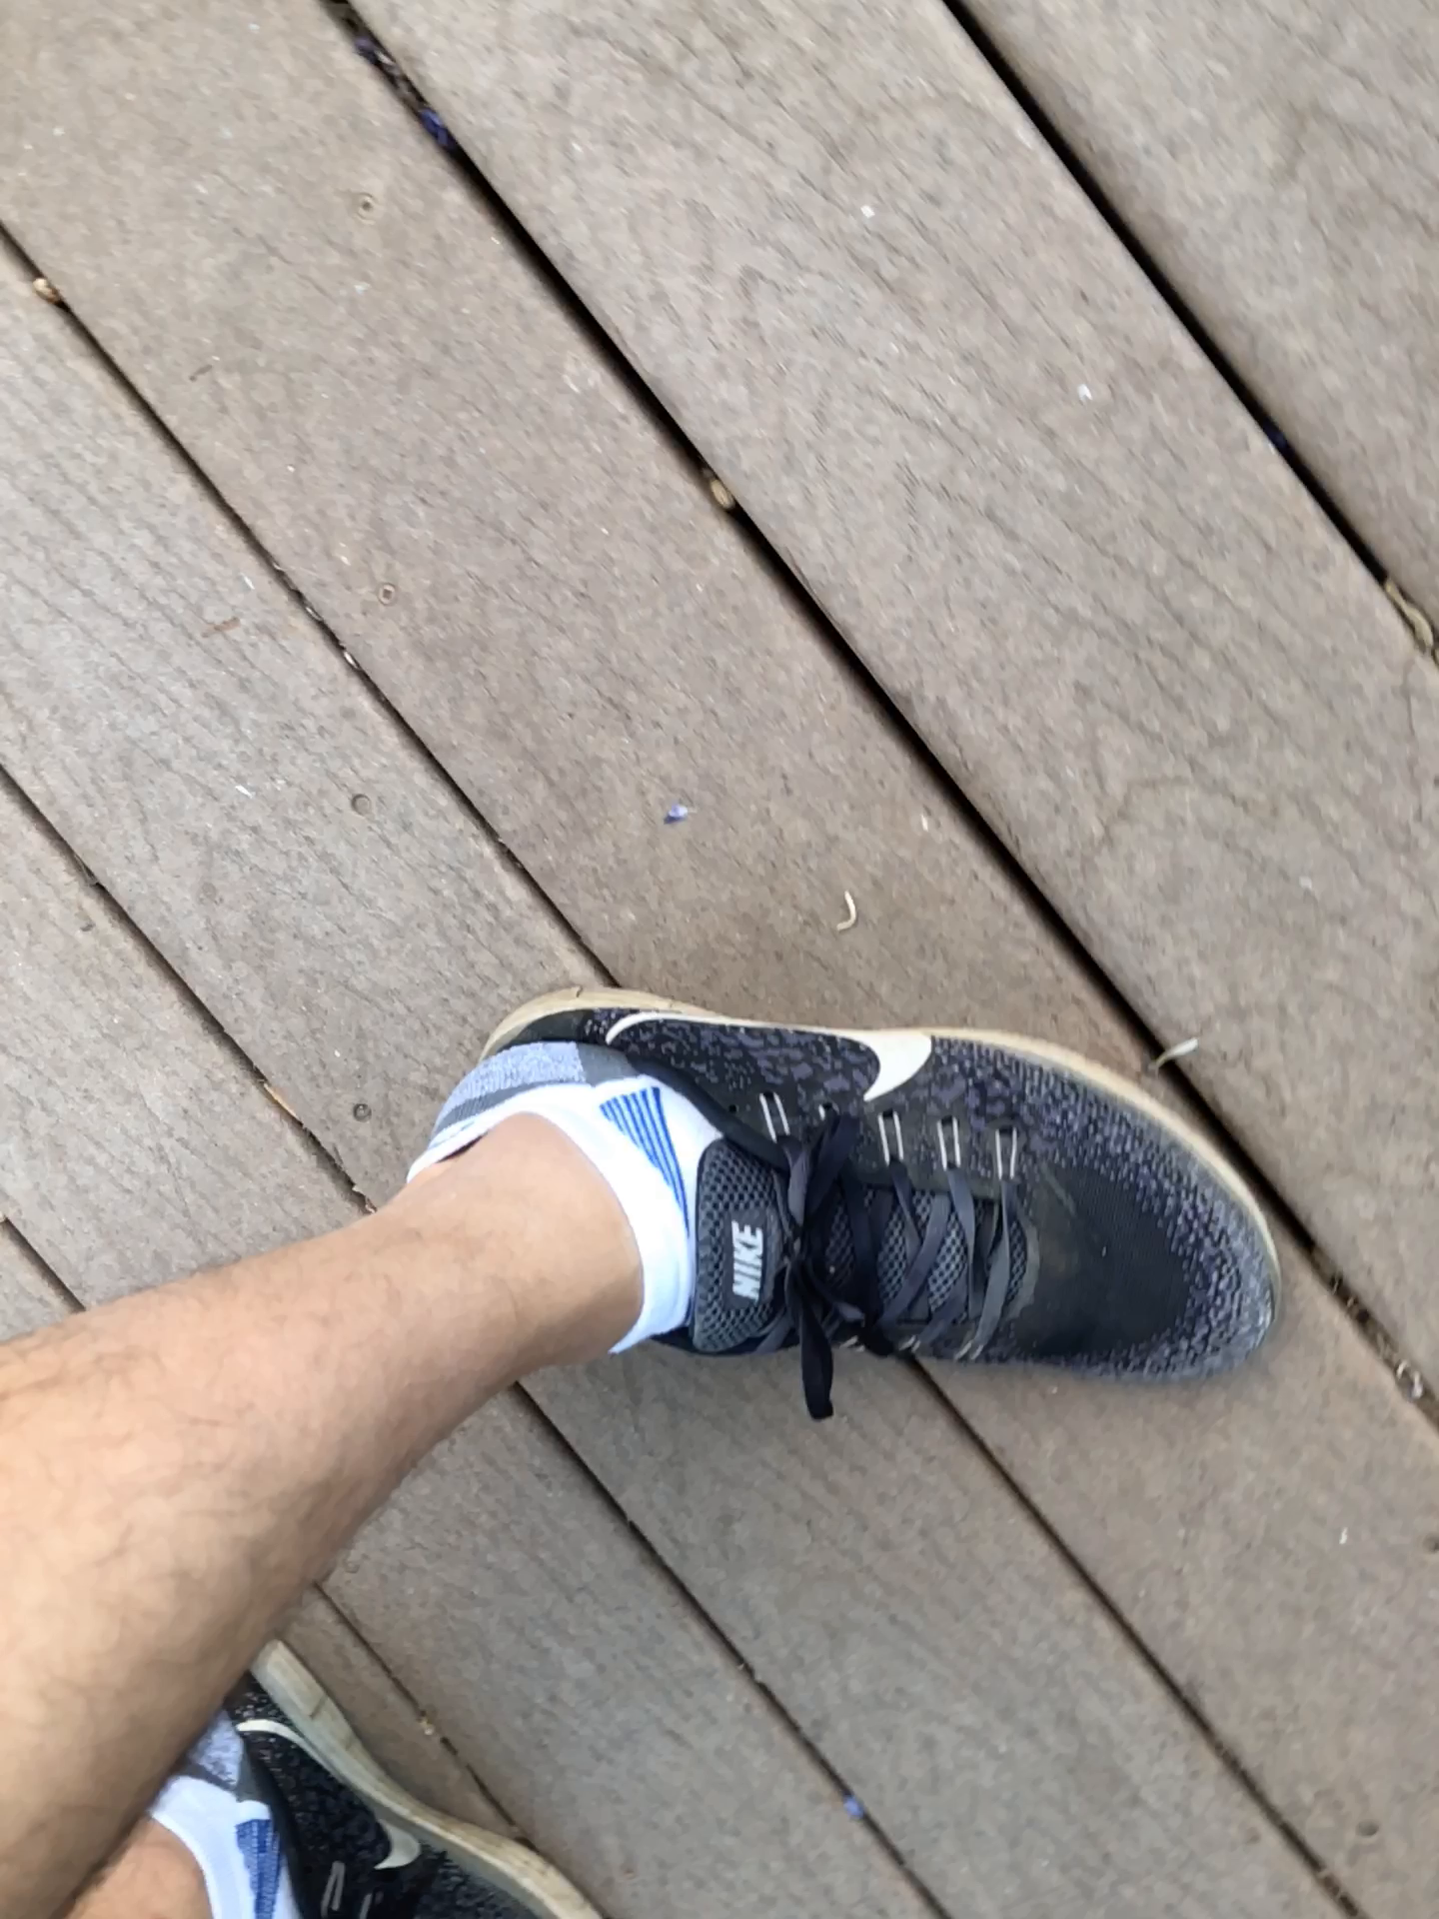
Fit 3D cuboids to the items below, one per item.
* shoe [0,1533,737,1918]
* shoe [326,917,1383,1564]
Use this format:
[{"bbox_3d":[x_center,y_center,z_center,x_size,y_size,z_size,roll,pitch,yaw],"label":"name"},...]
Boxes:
[{"bbox_3d":[-0.157,0.415,0.681,0.320,0.090,0.120,43,109,-3],"label":"shoe"},{"bbox_3d":[0.038,0.086,0.532,0.310,0.090,0.120,13,107,7],"label":"shoe"}]
